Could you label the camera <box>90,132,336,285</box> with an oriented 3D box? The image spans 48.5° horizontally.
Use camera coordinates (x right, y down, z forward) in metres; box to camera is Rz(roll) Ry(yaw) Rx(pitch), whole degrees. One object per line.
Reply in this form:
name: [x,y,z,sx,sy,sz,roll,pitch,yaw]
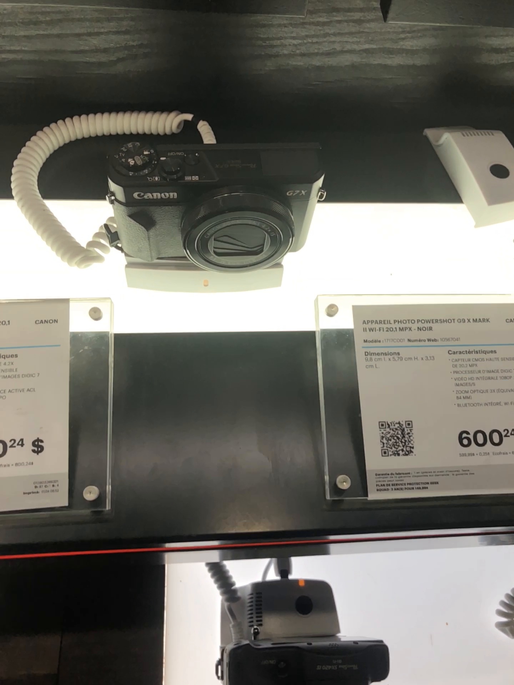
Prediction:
camera: [-0.023,-0.067,0.296,0.110,0.080,0.030,-3,61,-7]
